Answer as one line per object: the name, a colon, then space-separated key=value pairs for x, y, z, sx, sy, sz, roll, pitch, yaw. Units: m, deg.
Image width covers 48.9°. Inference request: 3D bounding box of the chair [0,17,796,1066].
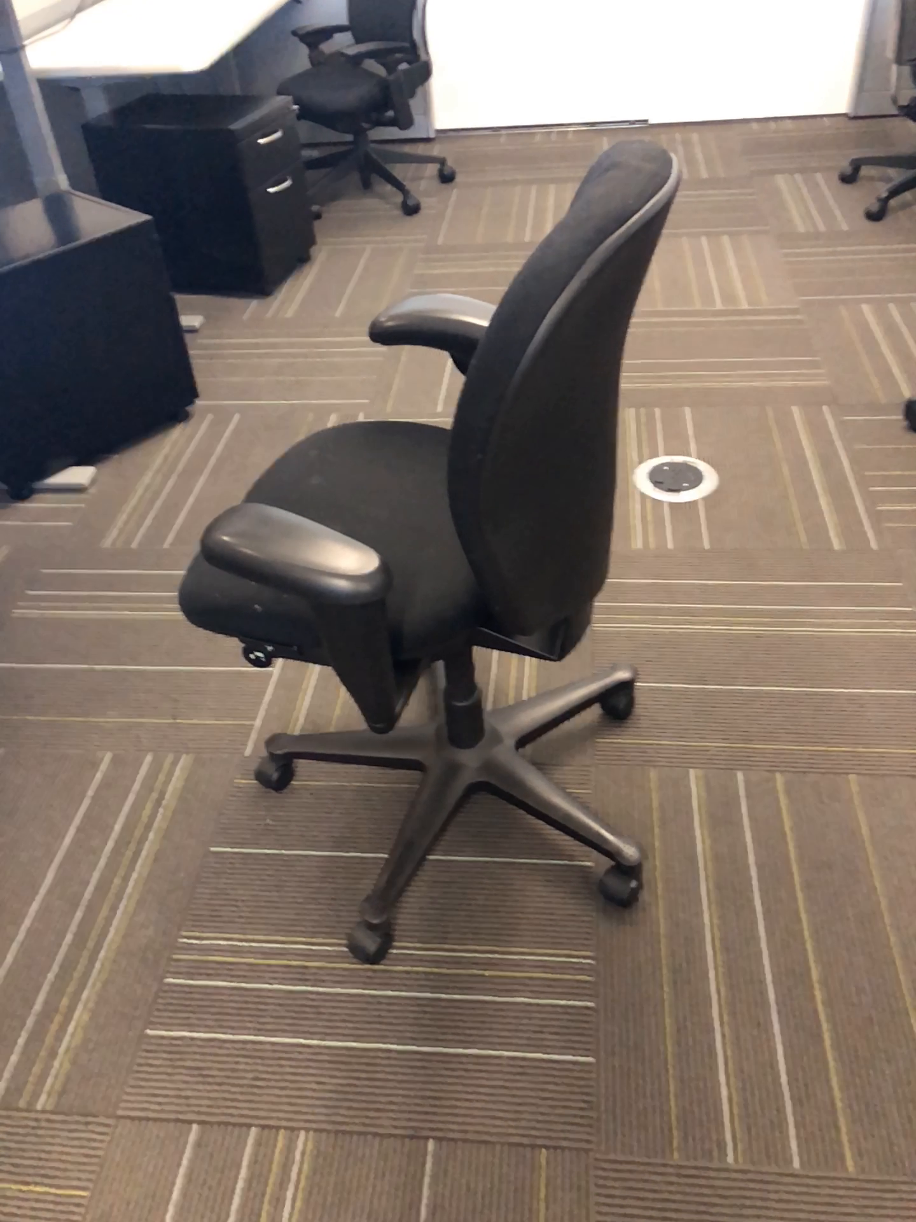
chair: x=-0.047 y=-0.109 z=1.275 sx=0.681 sy=0.995 sz=0.703 roll=12 pitch=42 yaw=20
